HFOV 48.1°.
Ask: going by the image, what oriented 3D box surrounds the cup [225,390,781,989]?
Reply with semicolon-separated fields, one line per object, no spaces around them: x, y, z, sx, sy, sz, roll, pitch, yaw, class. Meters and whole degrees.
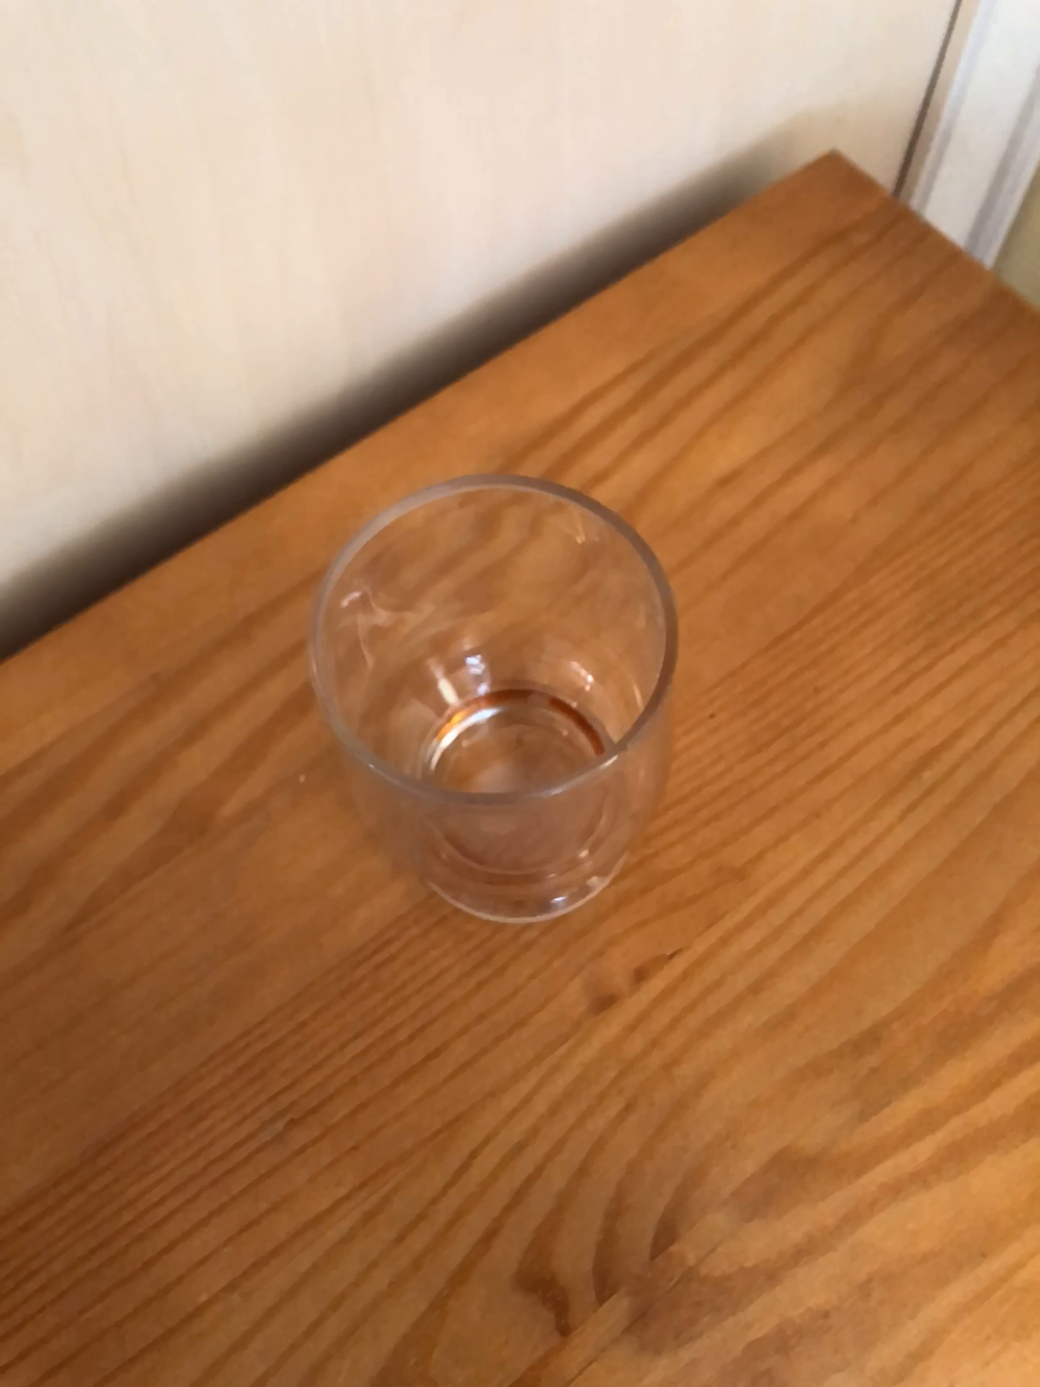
0.000;0.005;0.260;0.076;0.100;0.074;-1;65;2;cup
